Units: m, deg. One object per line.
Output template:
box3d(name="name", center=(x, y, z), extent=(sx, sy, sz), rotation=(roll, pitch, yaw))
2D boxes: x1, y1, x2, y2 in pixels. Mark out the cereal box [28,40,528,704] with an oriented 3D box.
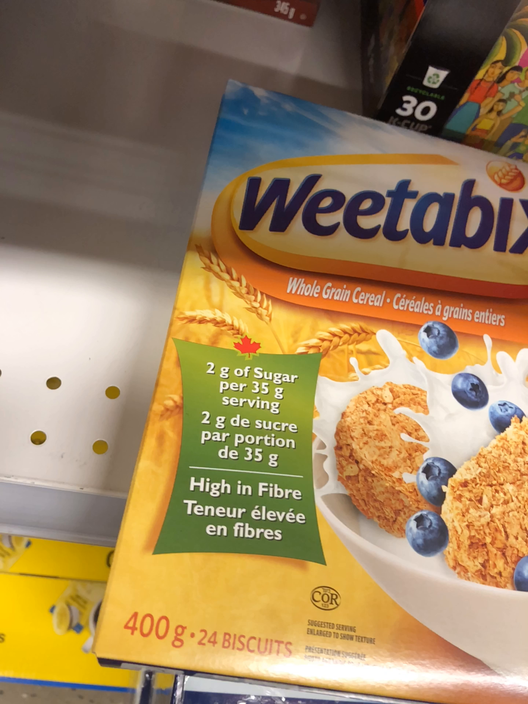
box3d(name="cereal box", center=(0.050, -0.005, 0.267), extent=(0.210, 0.050, 0.290), rotation=(12, 58, -8))
